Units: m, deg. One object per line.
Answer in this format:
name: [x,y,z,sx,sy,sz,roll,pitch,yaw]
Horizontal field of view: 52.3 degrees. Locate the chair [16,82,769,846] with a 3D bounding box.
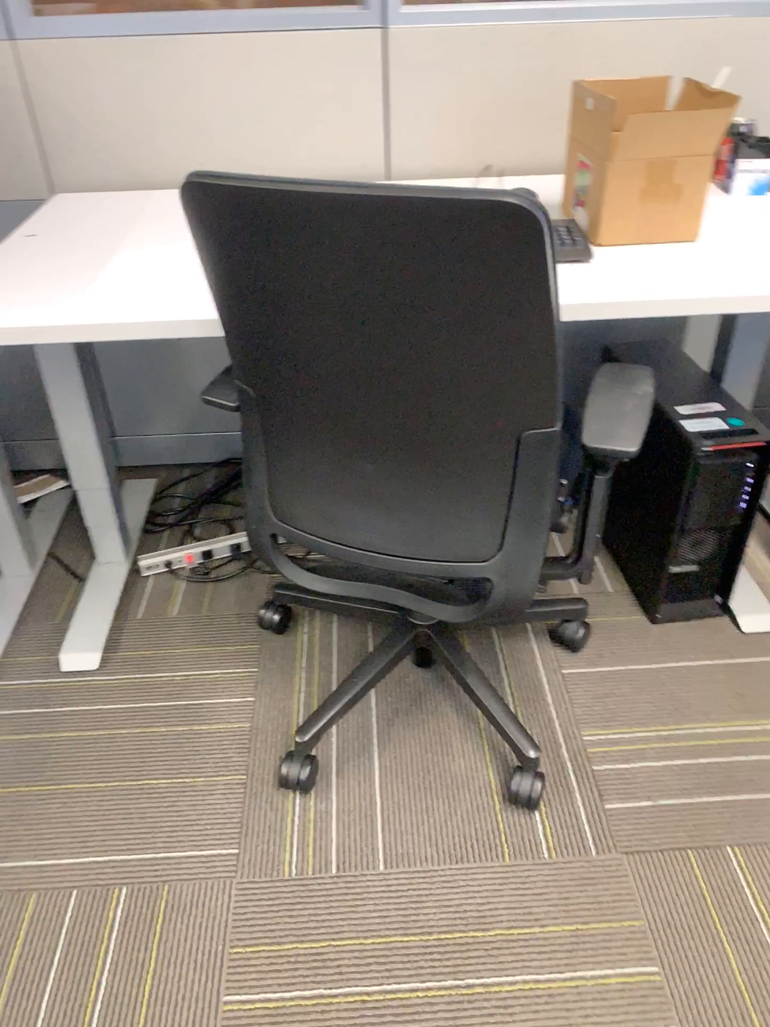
chair: [0.061,-0.121,1.276,0.700,0.934,0.754,5,36,9]
